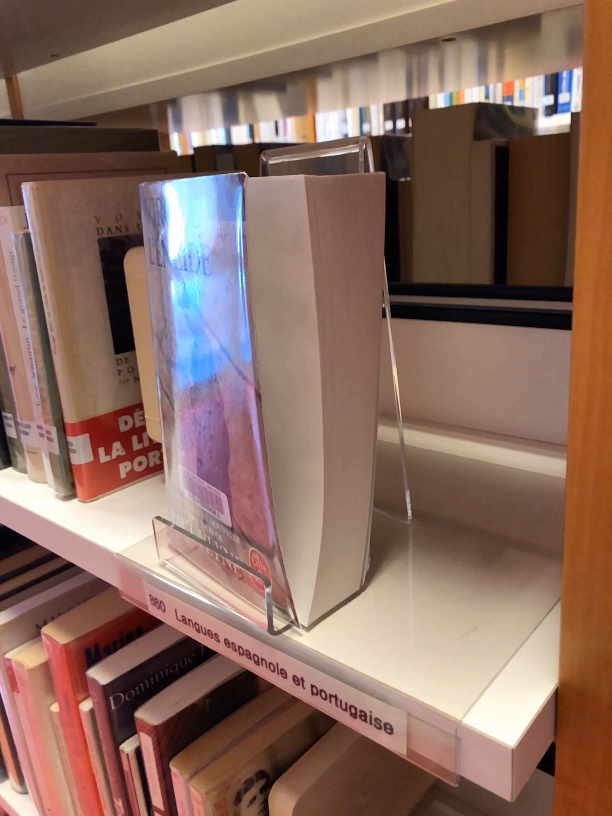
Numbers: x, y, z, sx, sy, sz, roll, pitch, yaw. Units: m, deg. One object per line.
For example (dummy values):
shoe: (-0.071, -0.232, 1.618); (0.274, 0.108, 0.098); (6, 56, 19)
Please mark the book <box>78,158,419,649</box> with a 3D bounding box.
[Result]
book: (-0.026, -0.013, 0.296); (0.074, 0.168, 0.131); (-16, 20, -36)
